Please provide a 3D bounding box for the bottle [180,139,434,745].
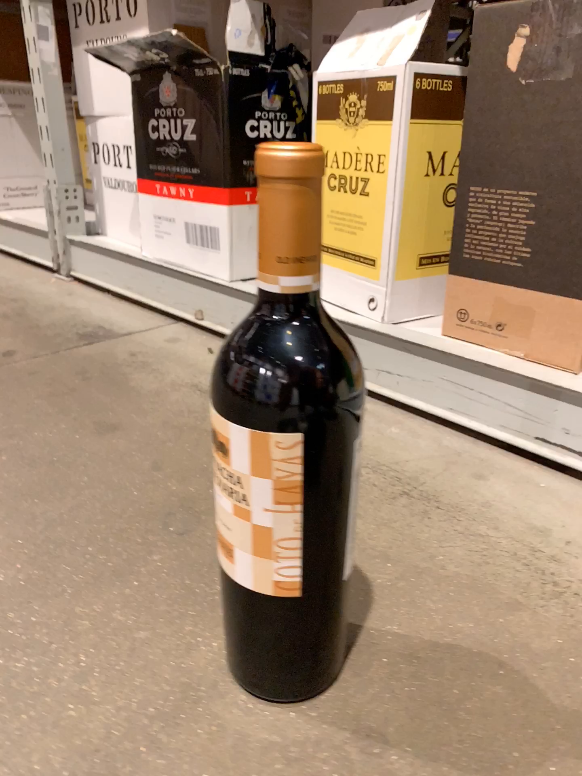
[{"bbox_3d":[0.005,0.036,0.332,0.080,0.317,0.080,1,24,0],"label":"bottle"}]
